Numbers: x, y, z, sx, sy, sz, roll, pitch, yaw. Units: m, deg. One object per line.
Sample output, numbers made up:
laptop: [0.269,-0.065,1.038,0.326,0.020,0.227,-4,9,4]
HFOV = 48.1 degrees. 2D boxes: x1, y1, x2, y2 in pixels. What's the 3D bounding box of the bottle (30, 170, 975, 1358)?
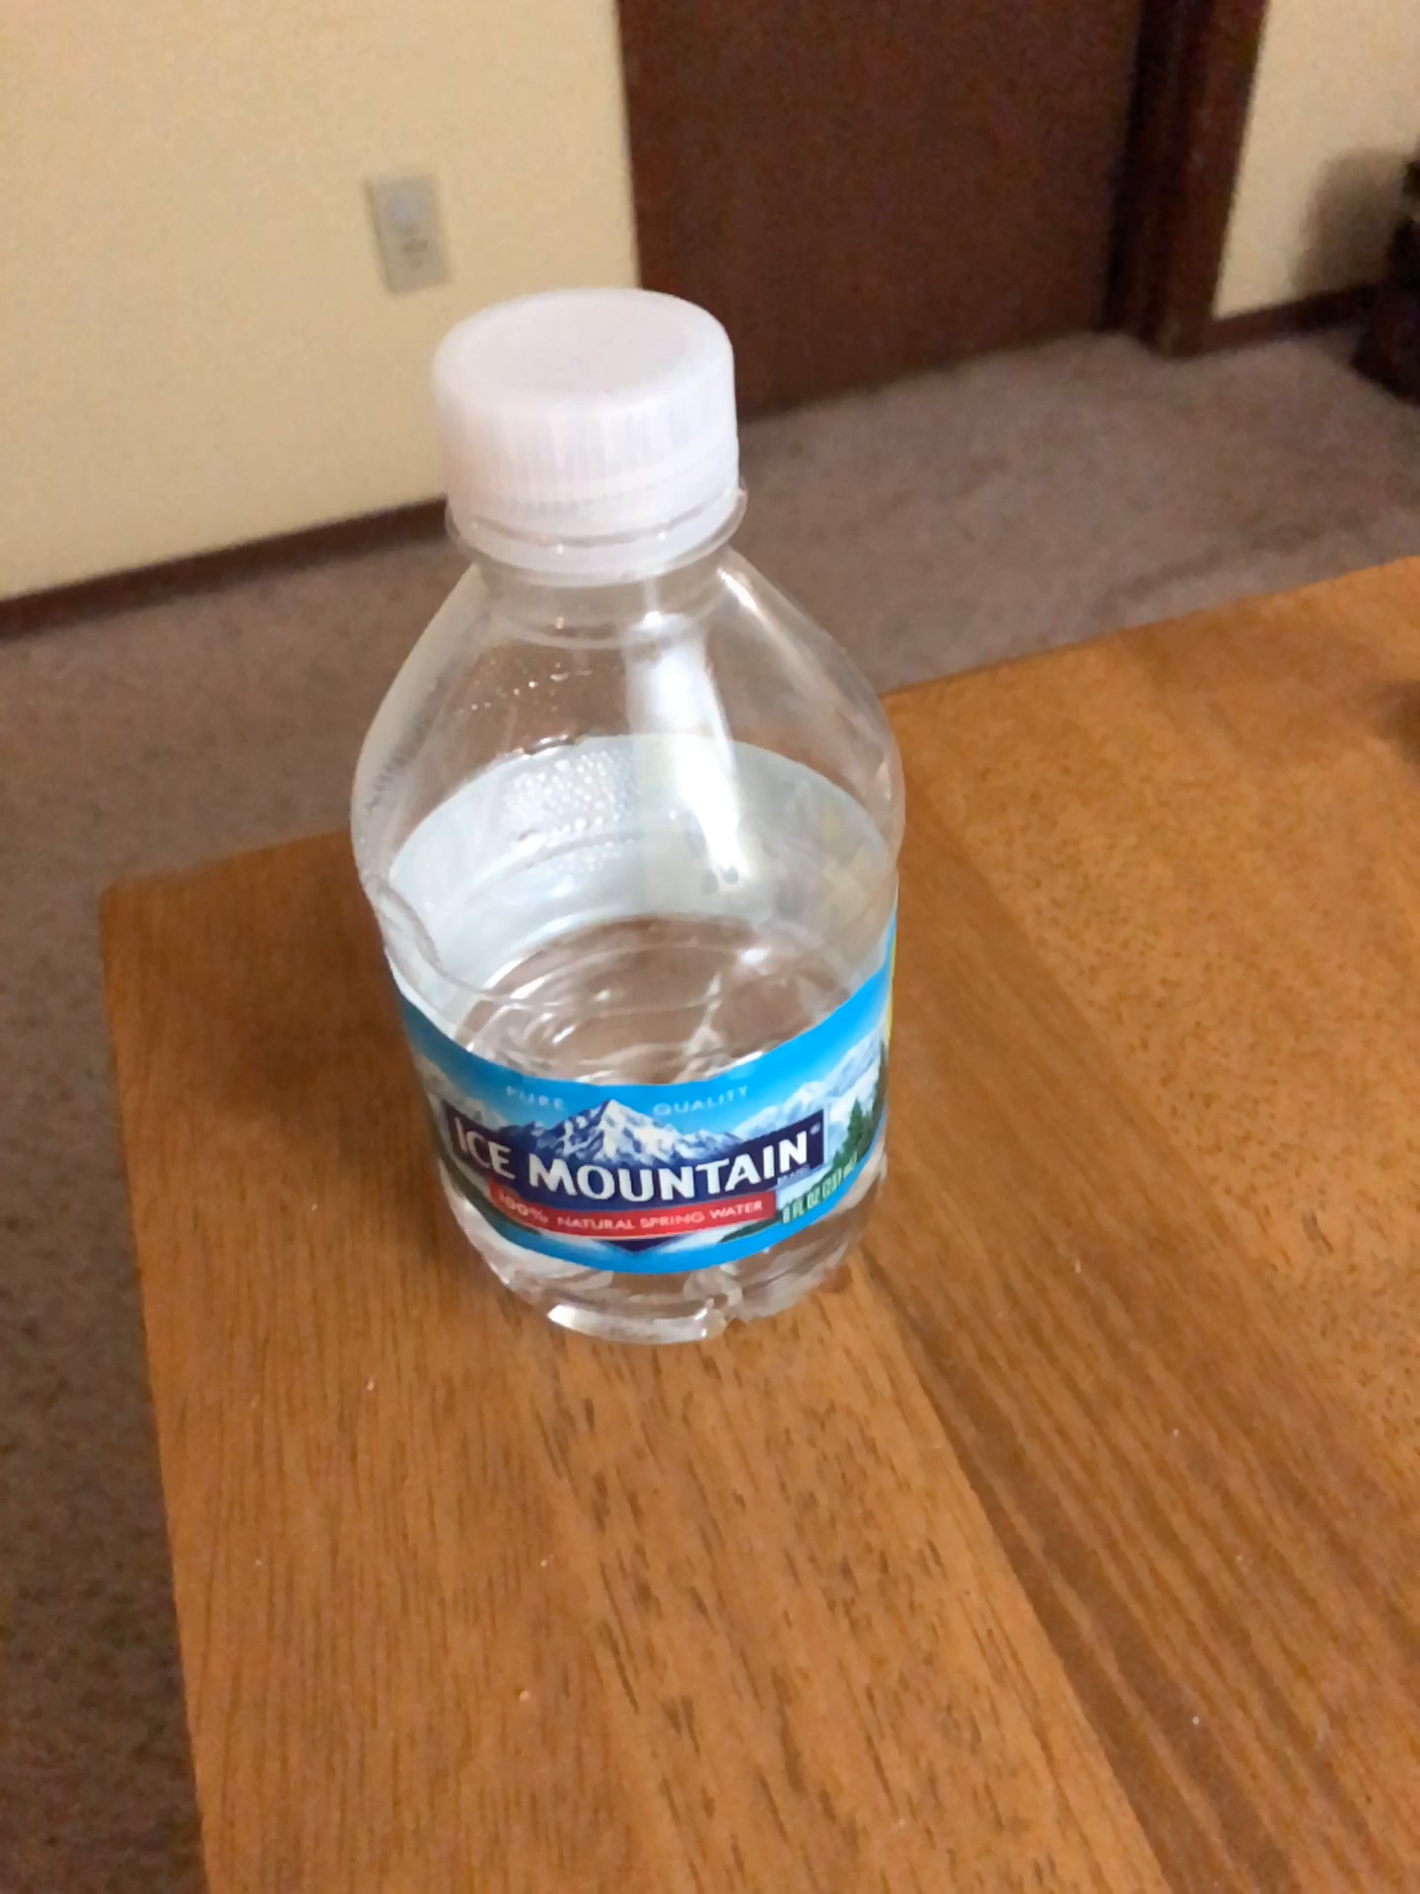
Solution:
bottle: [-0.010,-0.016,0.179,0.070,0.110,0.070,-2,45,2]
